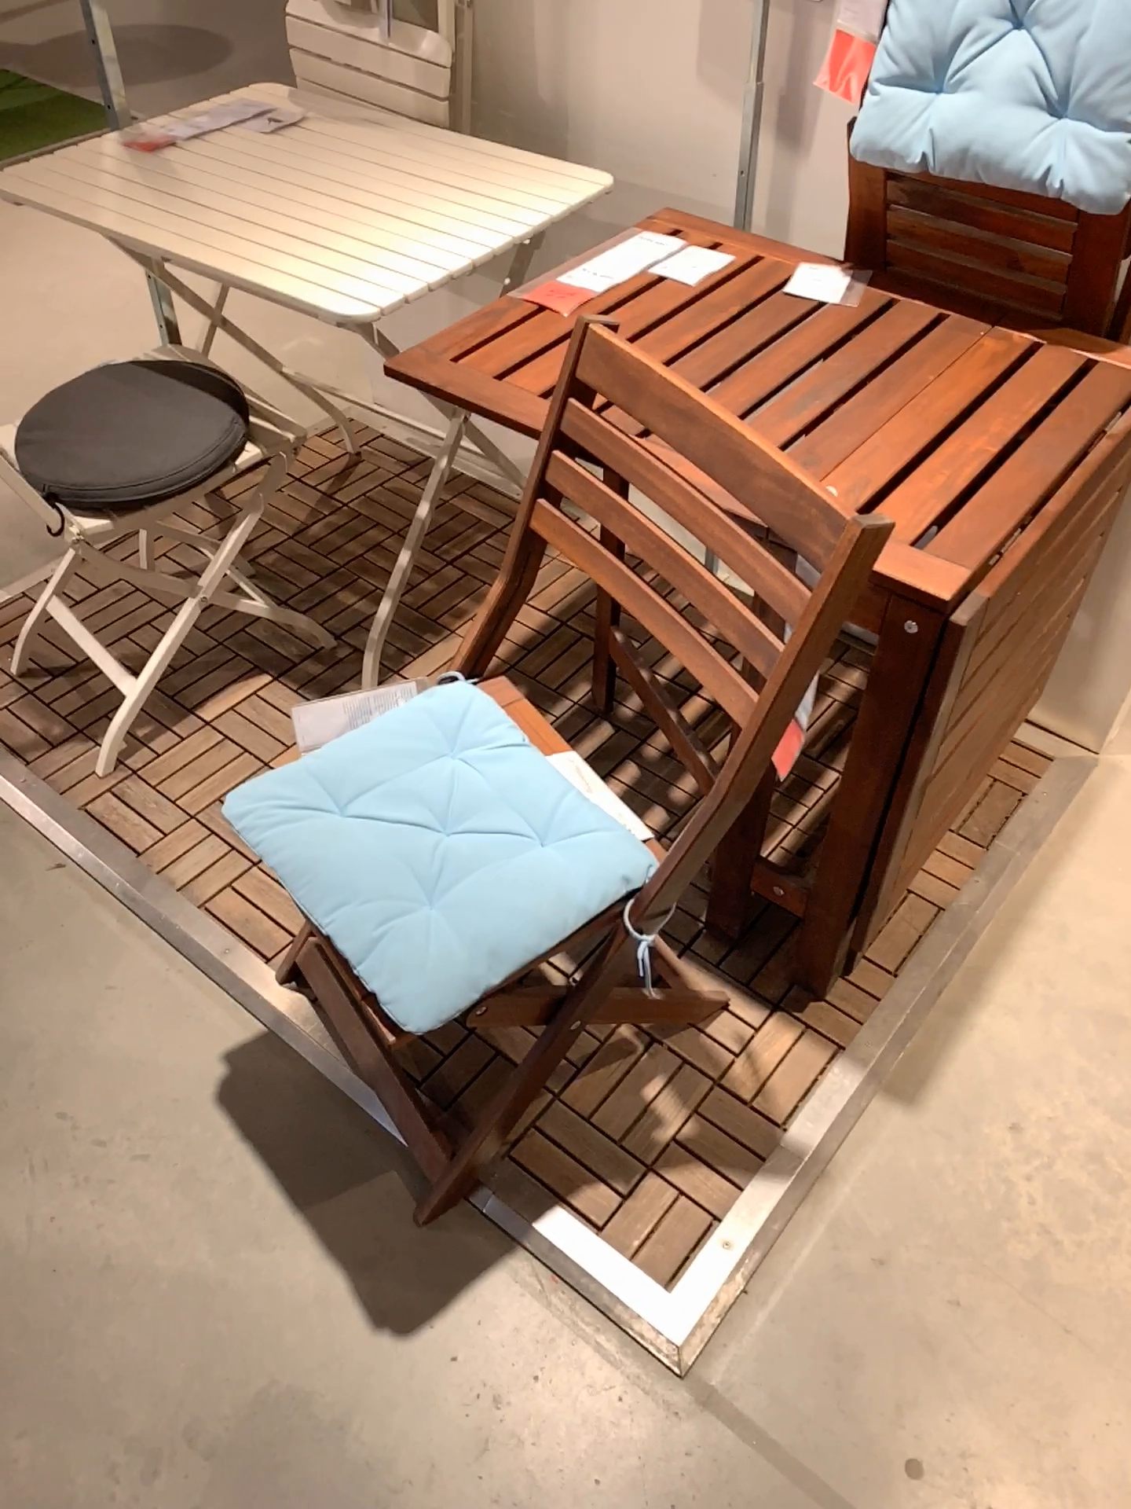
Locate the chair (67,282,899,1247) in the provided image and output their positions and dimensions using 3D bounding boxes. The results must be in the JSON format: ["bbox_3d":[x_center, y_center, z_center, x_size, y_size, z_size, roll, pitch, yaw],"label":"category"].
[{"bbox_3d":[-0.085,0.026,1.224,0.520,0.777,0.471,-25,51,-23],"label":"chair"}]
